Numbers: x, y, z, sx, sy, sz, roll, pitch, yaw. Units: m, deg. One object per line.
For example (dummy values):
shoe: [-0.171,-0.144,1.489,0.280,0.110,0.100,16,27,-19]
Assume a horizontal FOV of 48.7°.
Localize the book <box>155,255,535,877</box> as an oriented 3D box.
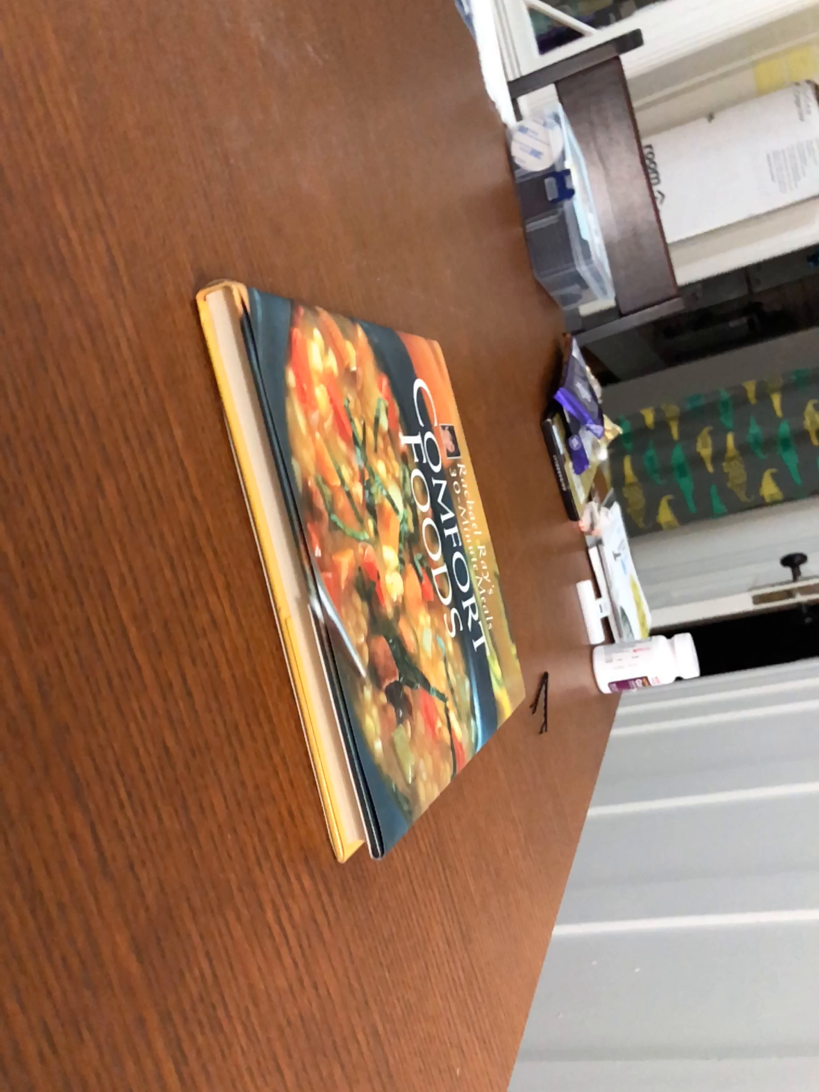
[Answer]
book: [-0.008,-0.003,0.389,0.211,0.030,0.200,-17,94,-68]
